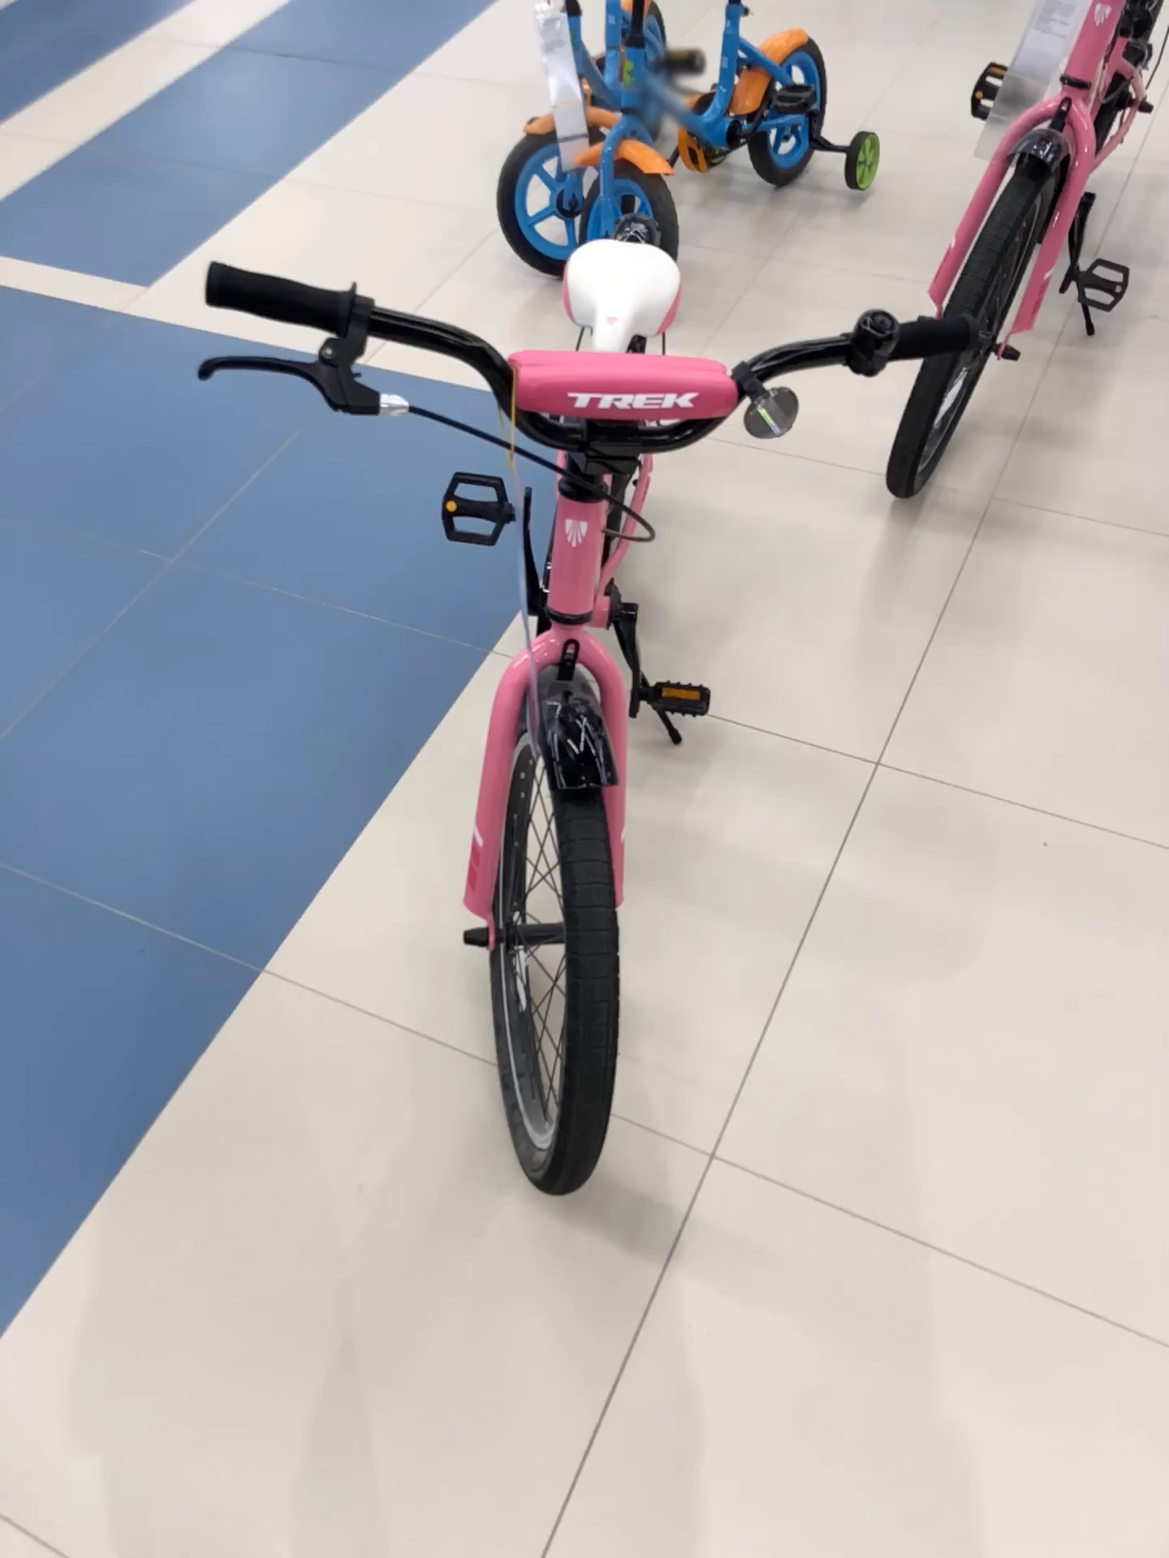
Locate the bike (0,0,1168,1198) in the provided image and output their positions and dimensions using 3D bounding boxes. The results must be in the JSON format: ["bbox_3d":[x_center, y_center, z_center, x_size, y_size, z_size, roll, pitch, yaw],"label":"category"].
[{"bbox_3d":[0.051,-0.337,1.326,0.555,0.835,1.302,0,45,5],"label":"bike"}]
